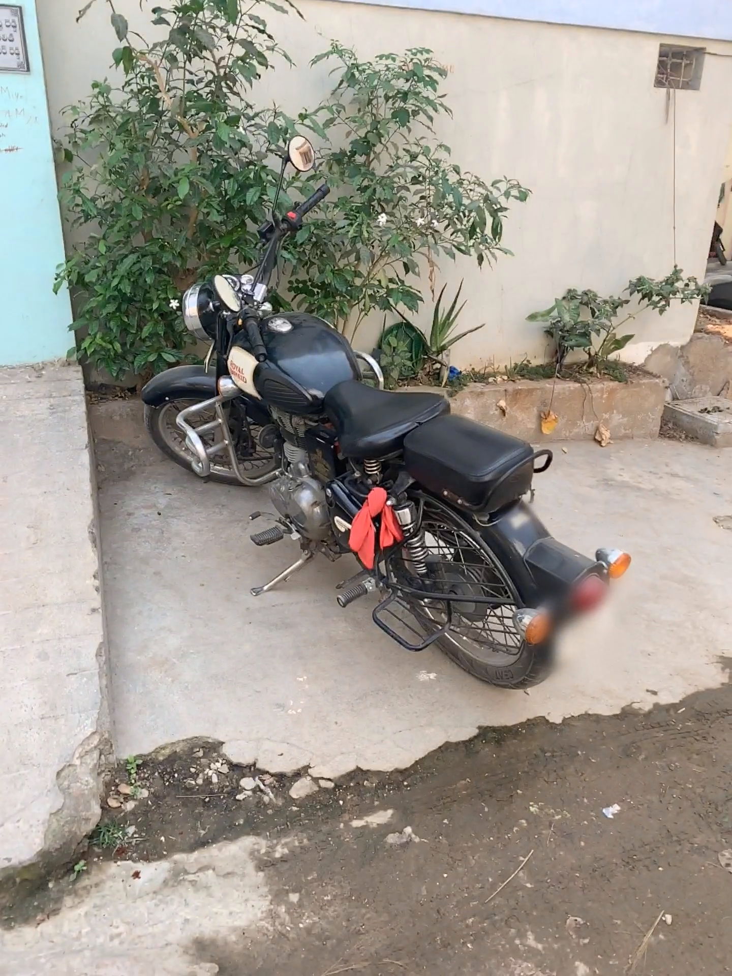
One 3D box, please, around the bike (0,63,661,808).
[{"bbox_3d":[-0.244,-0.346,2.227,1.790,1.340,0.748,26,32,34],"label":"bike"}]
